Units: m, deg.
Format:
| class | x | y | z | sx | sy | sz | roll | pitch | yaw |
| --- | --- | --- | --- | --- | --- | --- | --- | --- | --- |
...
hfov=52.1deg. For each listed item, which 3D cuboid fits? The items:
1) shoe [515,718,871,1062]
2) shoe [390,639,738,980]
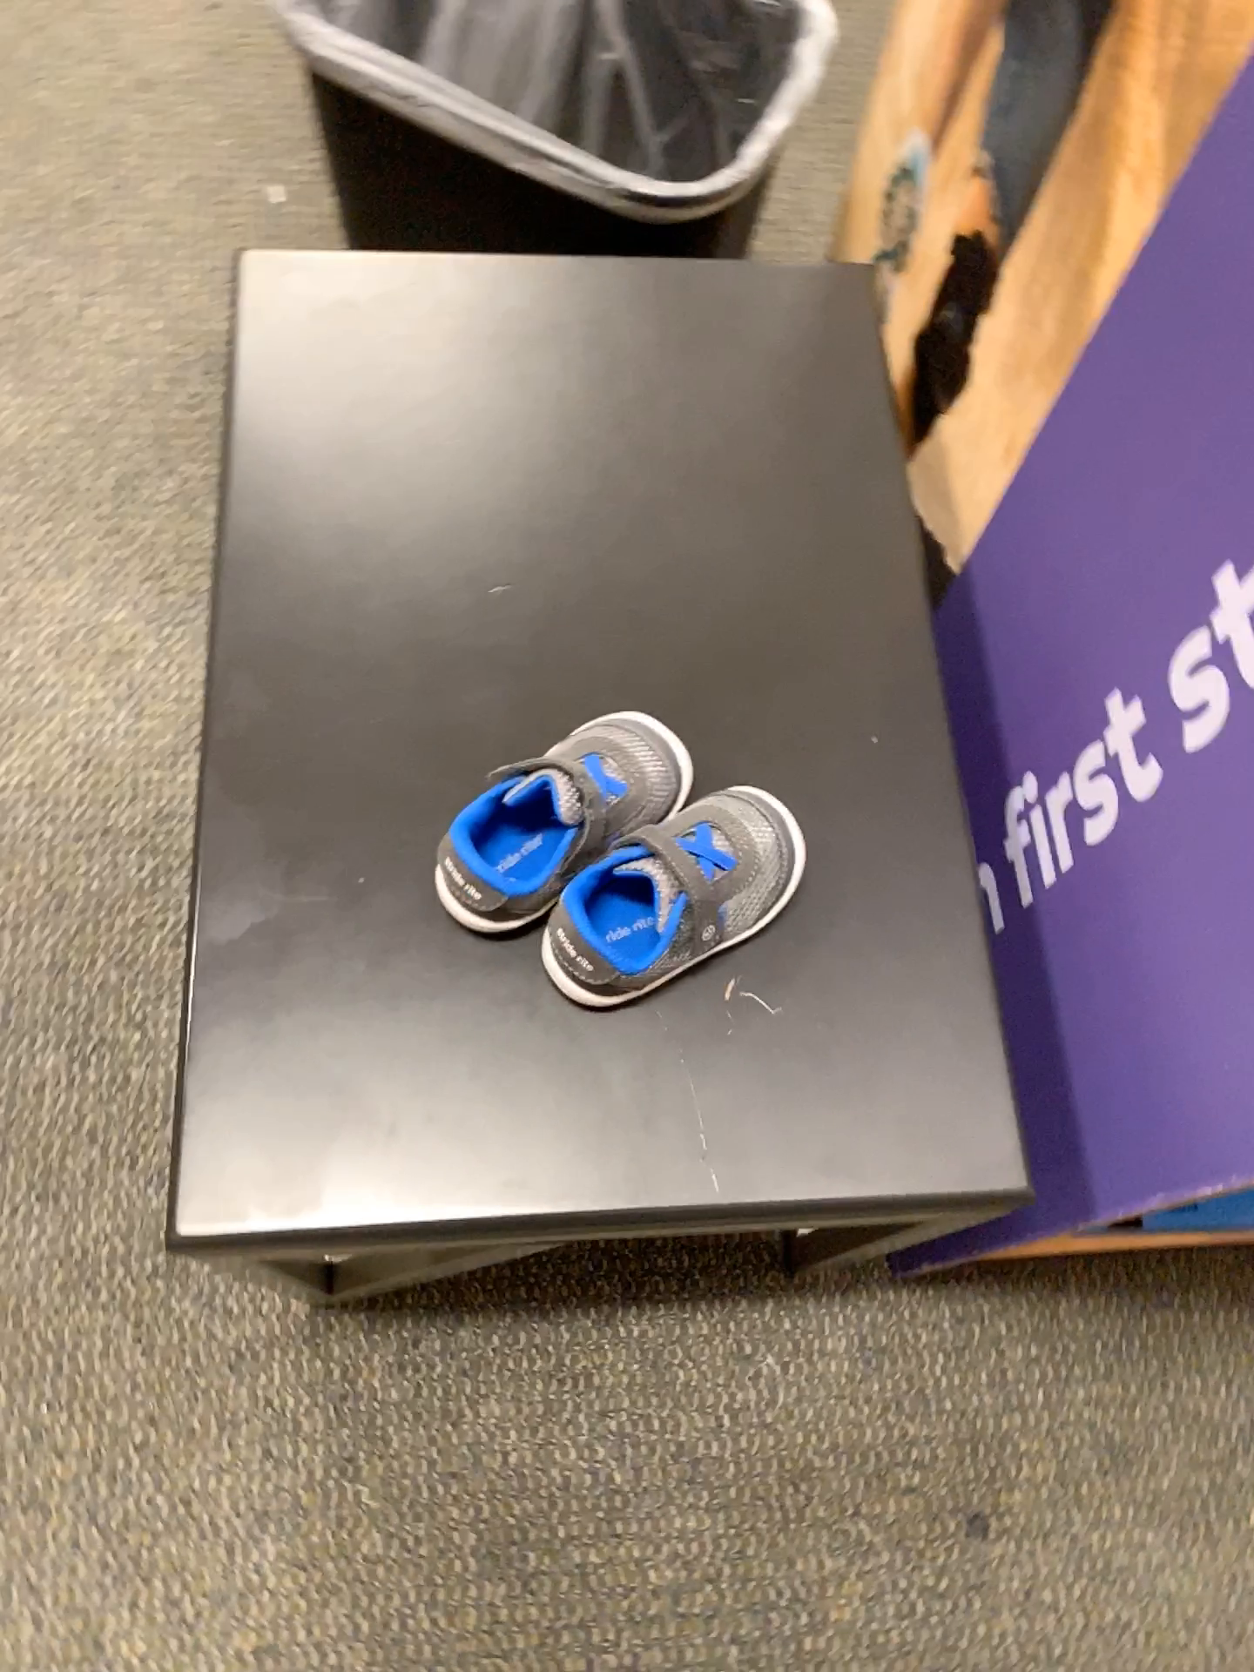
| class | x | y | z | sx | sy | sz | roll | pitch | yaw |
| --- | --- | --- | --- | --- | --- | --- | --- | --- | --- |
| shoe | 0.027 | 0.024 | 0.571 | 0.140 | 0.060 | 0.070 | -36 | 75 | -18 |
| shoe | -0.028 | -0.012 | 0.585 | 0.140 | 0.060 | 0.070 | -39 | 76 | -19 |
